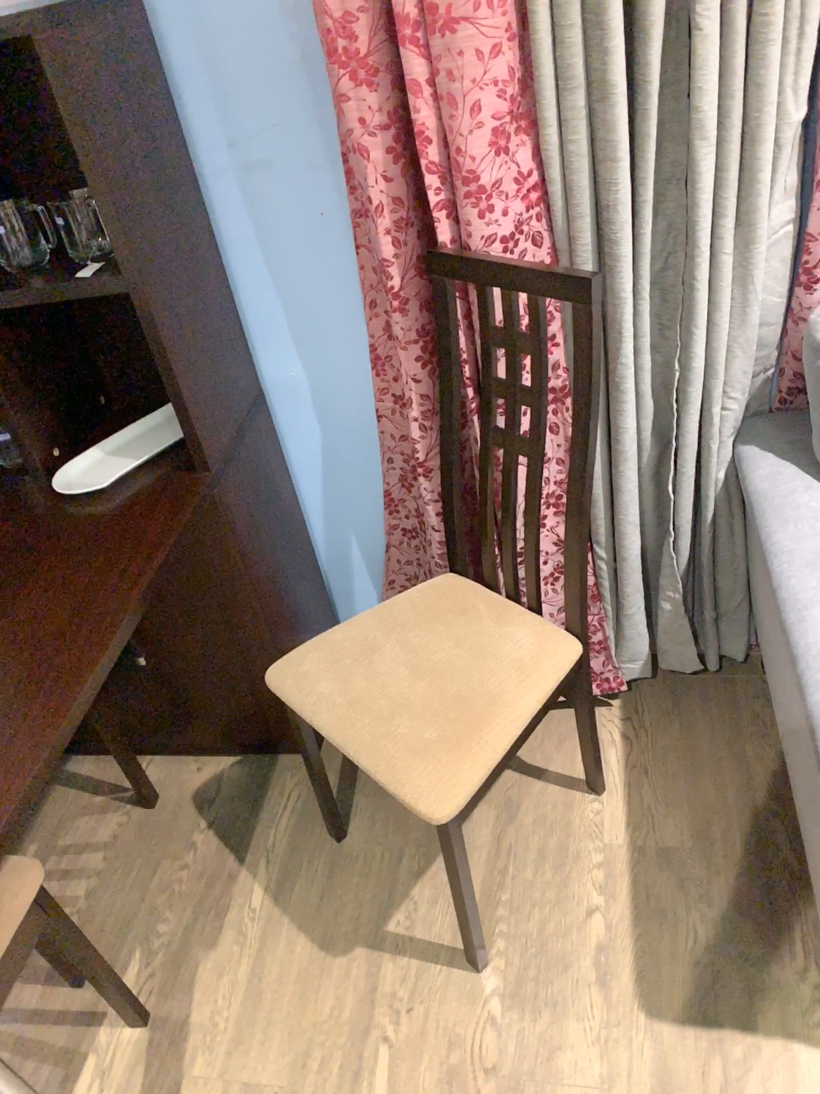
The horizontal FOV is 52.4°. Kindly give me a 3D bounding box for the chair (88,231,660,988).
[{"bbox_3d":[0.023,0.095,1.338,0.511,0.976,0.531,-36,42,-29],"label":"chair"}]
